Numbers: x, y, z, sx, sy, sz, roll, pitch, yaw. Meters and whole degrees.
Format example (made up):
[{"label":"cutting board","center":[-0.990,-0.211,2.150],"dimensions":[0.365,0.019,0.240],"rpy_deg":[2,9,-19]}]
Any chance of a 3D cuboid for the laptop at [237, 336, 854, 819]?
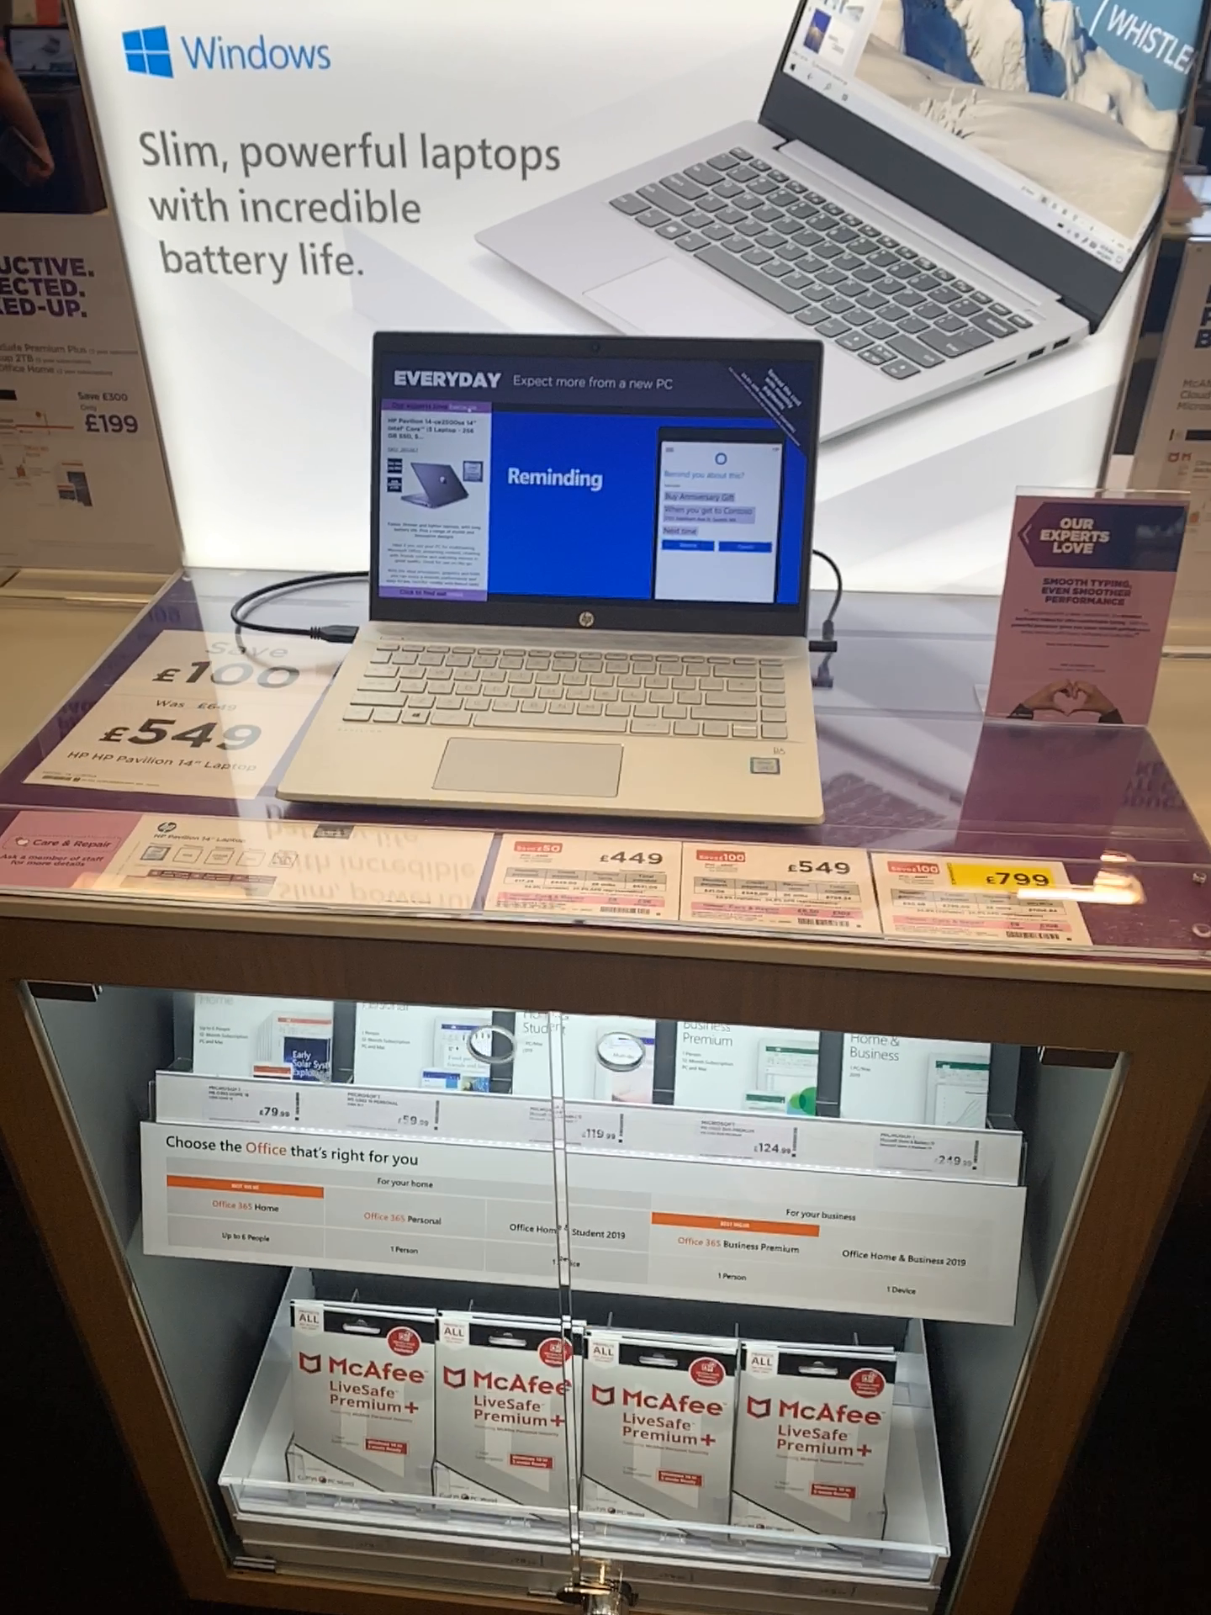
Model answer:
[{"label":"laptop","center":[-0.019,-0.167,0.803],"dimensions":[0.313,0.170,0.325],"rpy_deg":[3,35,5]}]
